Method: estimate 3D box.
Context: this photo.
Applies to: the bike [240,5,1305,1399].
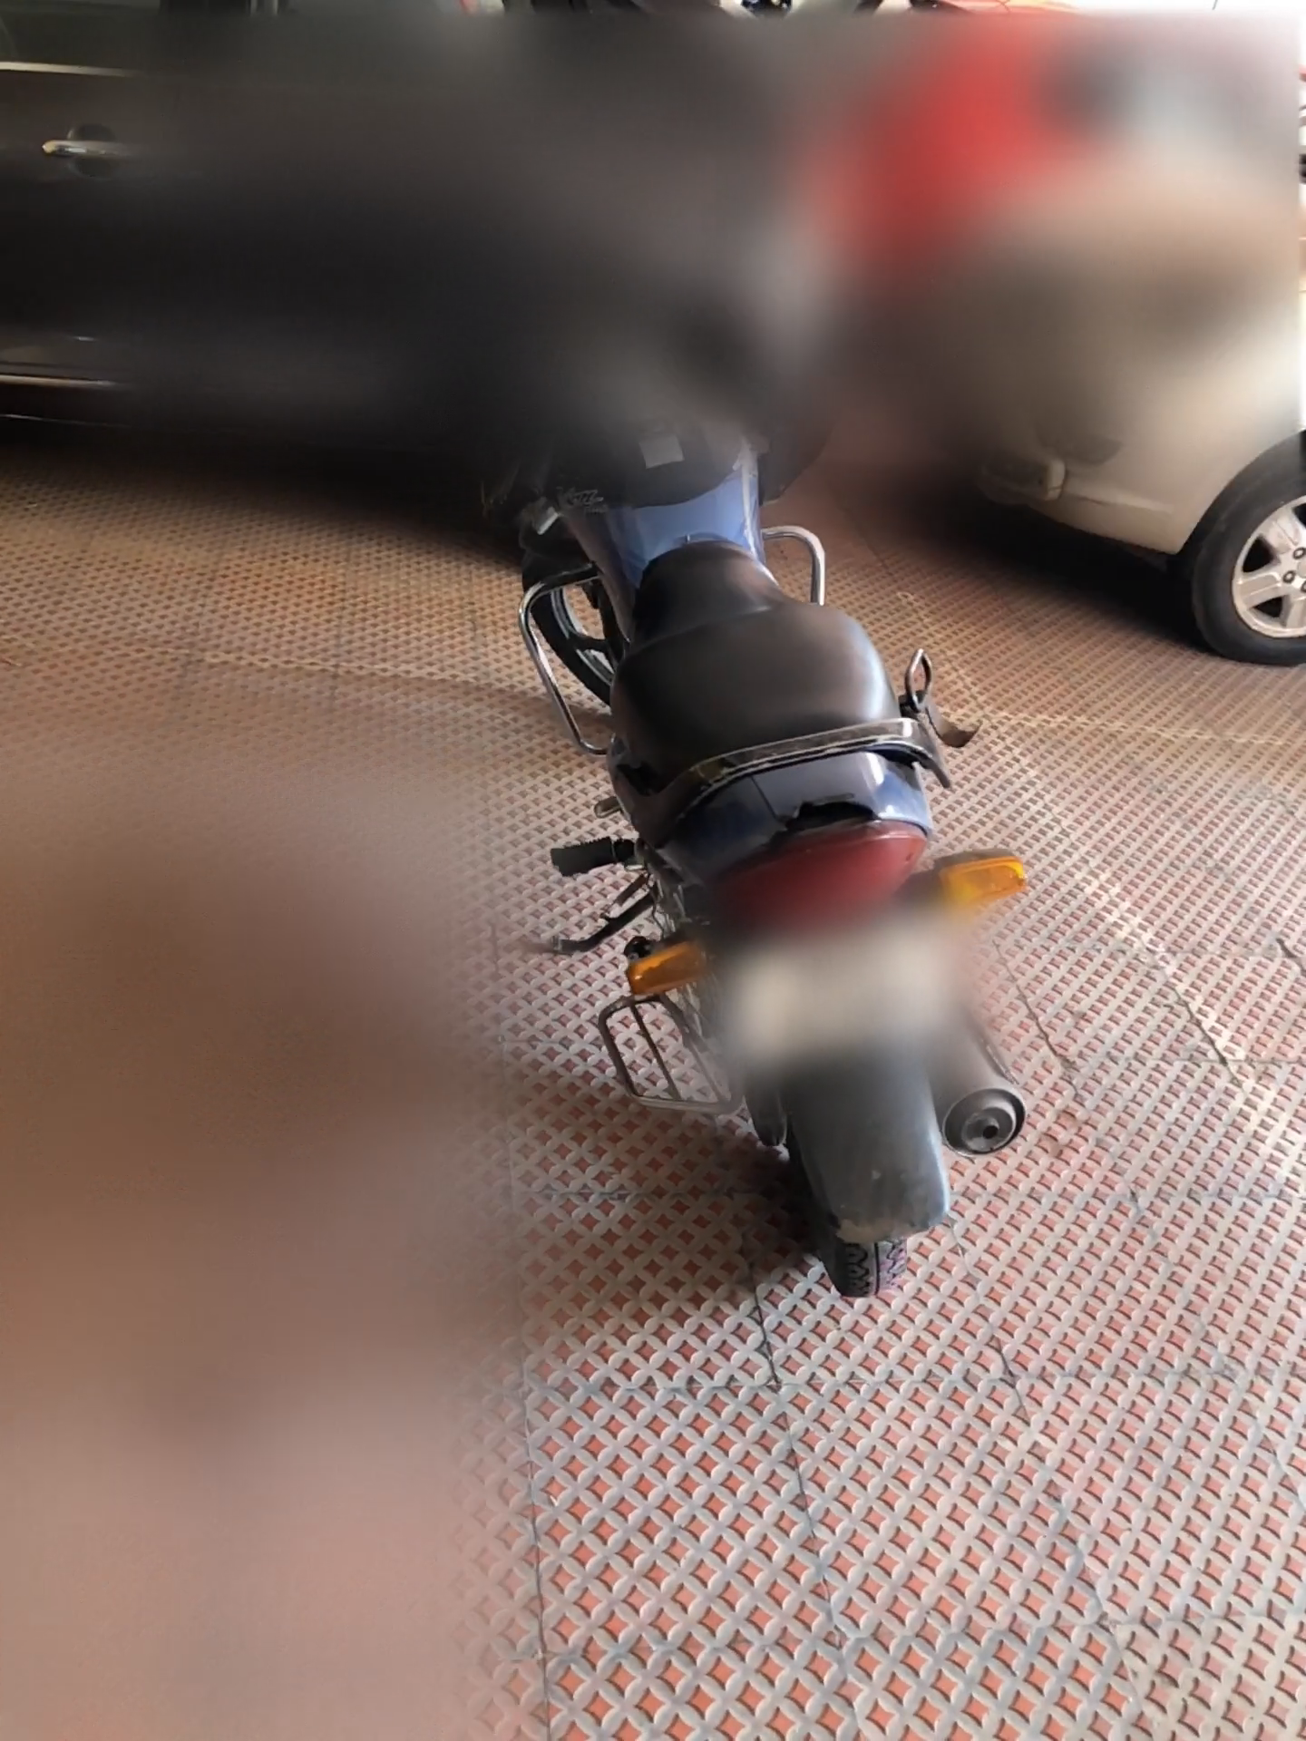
[{"bbox_3d":[-0.117,-0.383,1.982,0.734,1.072,1.696,-2,37,-19],"label":"bike"}]
